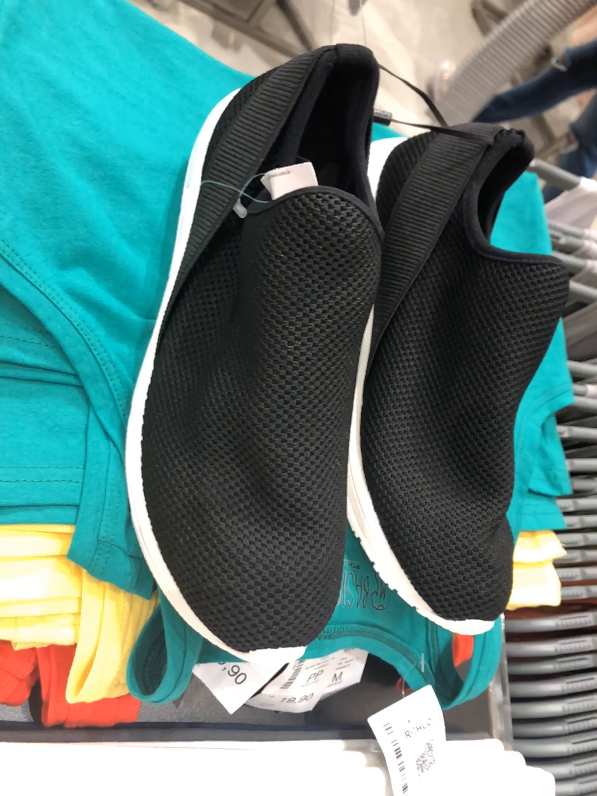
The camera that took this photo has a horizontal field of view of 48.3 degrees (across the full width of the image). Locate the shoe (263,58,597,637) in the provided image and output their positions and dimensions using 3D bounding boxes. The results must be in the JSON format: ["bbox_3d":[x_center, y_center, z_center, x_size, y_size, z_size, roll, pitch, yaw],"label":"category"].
[{"bbox_3d":[0.052,-0.013,0.327,0.090,0.119,0.240,11,68,-32],"label":"shoe"}]

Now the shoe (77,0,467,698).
[{"bbox_3d":[-0.015,-0.031,0.273,0.090,0.119,0.260,11,72,-32],"label":"shoe"}]
